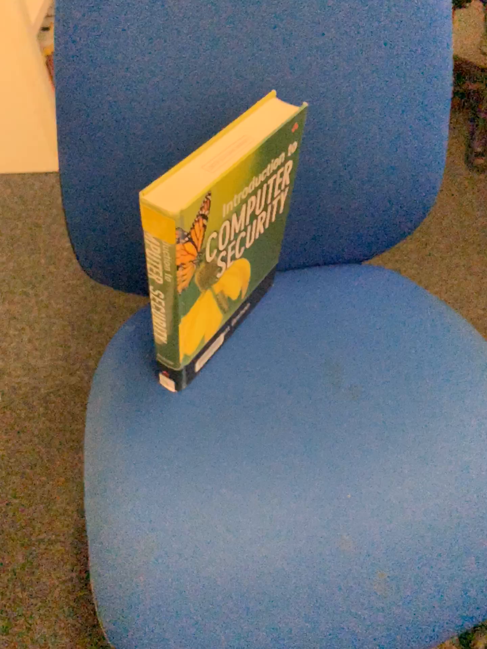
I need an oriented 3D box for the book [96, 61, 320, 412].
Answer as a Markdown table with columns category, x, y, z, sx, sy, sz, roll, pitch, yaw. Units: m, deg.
| category | x | y | z | sx | sy | sz | roll | pitch | yaw |
| --- | --- | --- | --- | --- | --- | --- | --- | --- | --- |
| book | -0.025 | -0.066 | 0.488 | 0.050 | 0.278 | 0.211 | 31 | 59 | 16 |
